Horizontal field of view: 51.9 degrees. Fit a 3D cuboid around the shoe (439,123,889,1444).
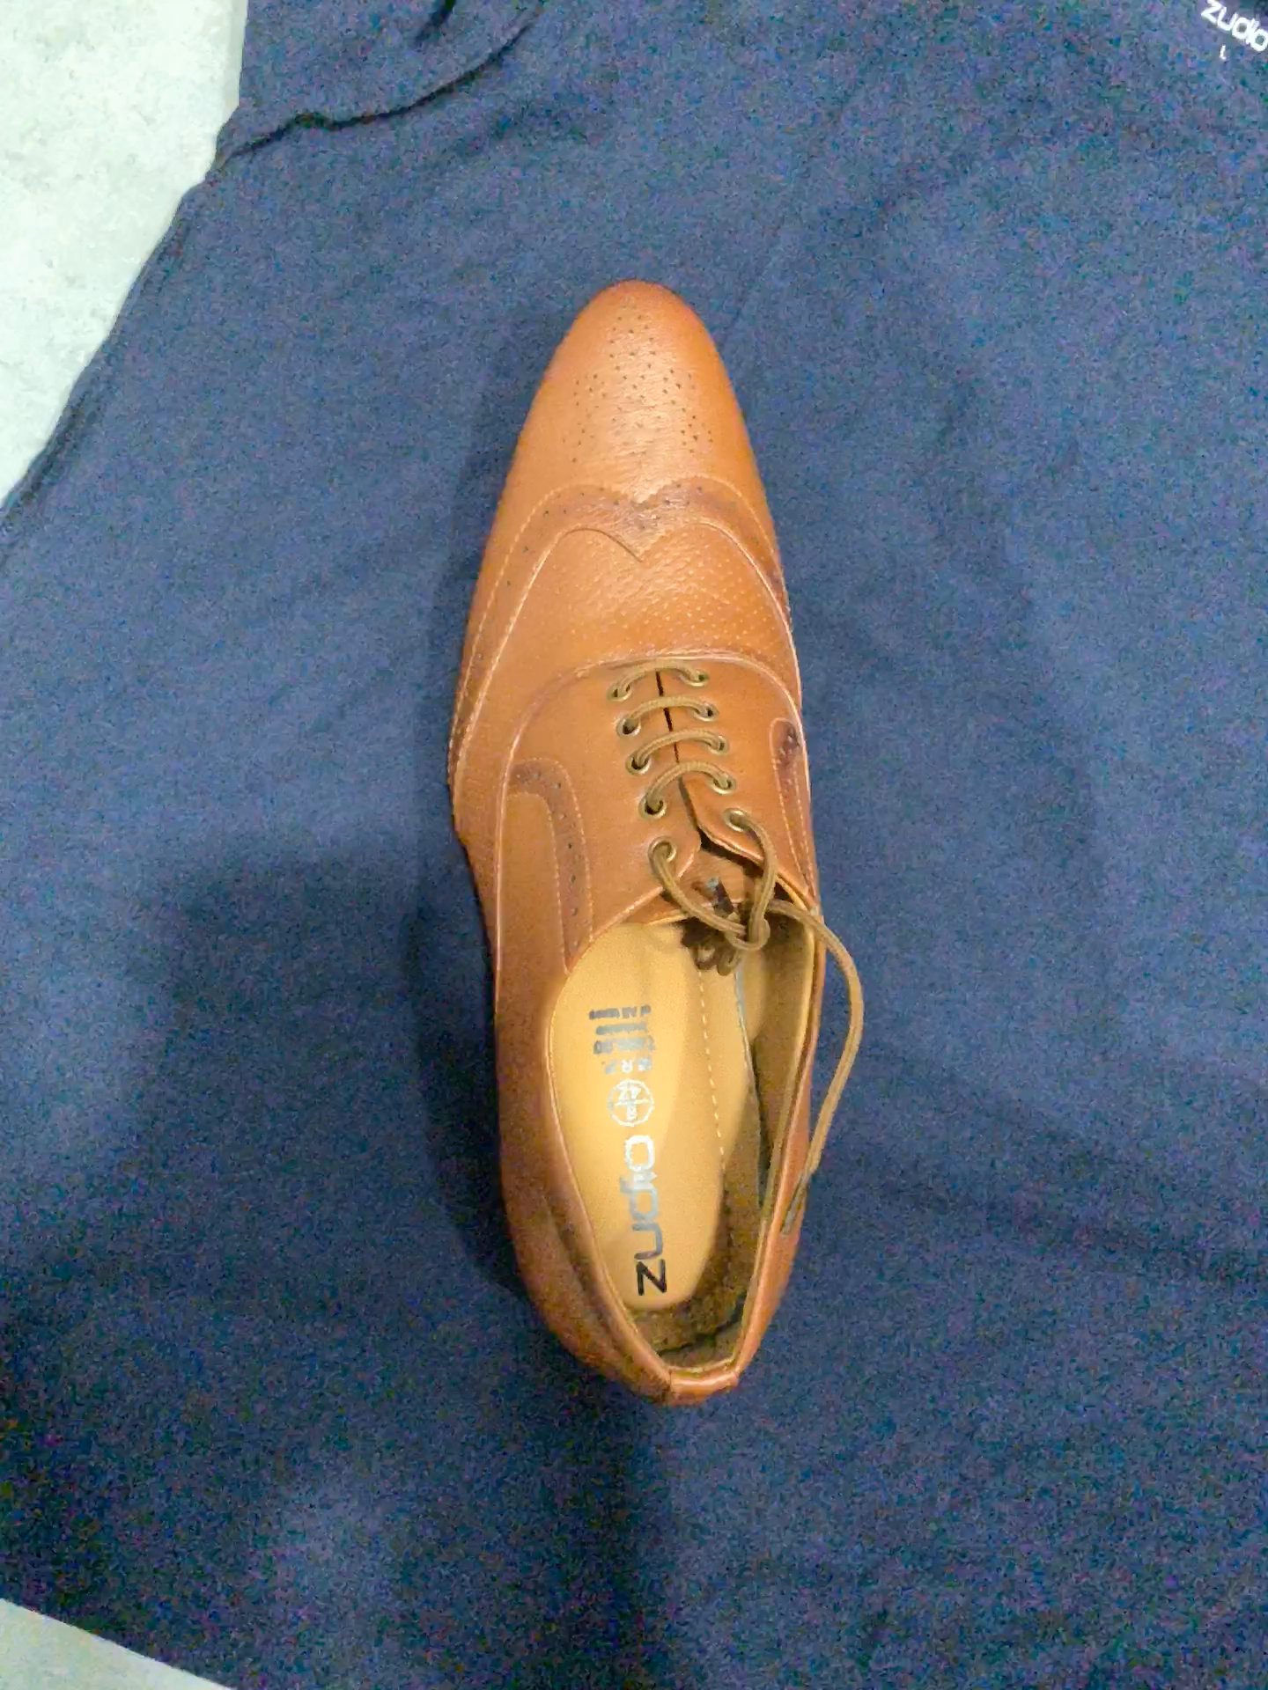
[{"bbox_3d":[0.001,-0.020,0.360,0.100,0.090,0.320,-1,82,-5],"label":"shoe"}]
